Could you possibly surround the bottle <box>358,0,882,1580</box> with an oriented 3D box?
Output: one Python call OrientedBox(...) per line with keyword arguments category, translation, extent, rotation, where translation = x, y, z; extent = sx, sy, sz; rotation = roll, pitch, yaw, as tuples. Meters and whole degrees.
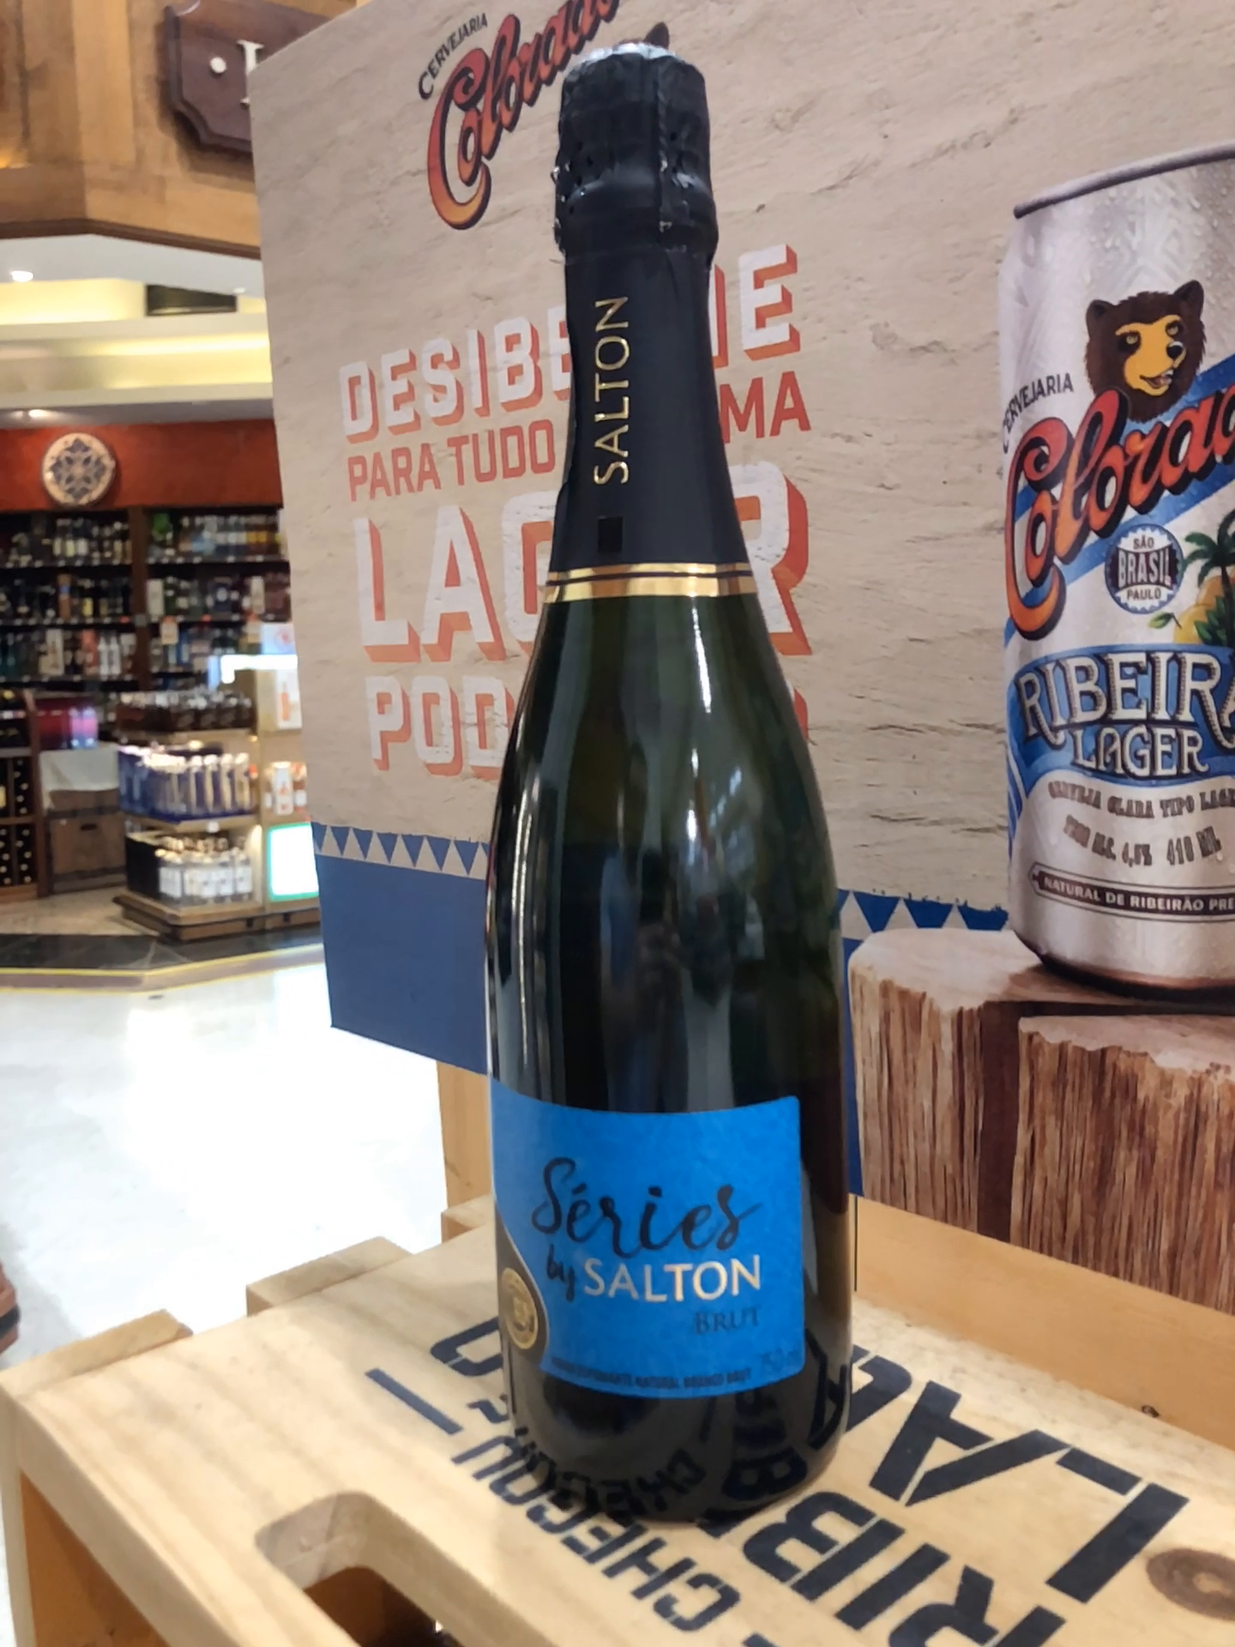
OrientedBox(category="bottle", translation=(0.008, -0.015, 0.305), extent=(0.090, 0.319, 0.080), rotation=(1, 7, 19))
